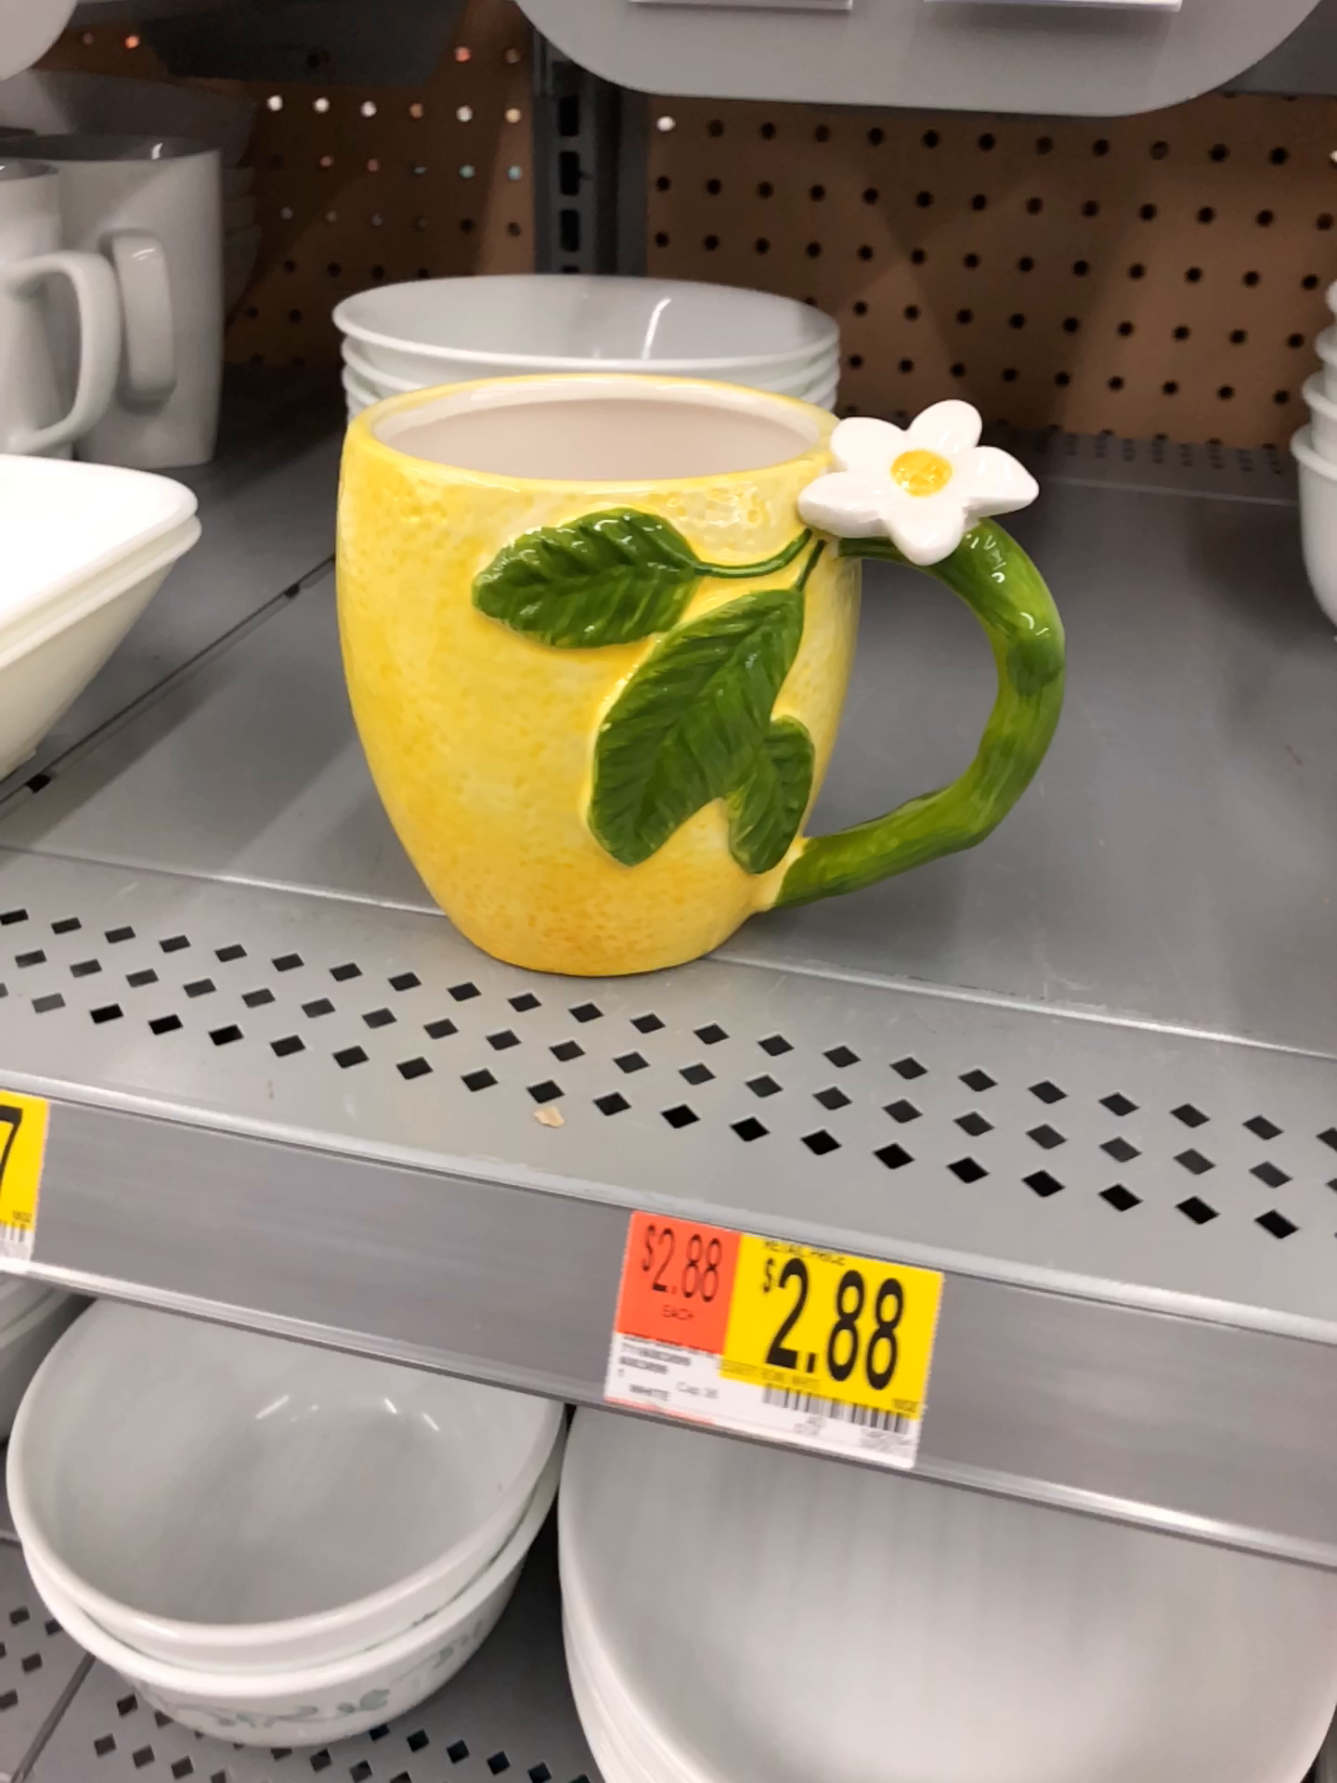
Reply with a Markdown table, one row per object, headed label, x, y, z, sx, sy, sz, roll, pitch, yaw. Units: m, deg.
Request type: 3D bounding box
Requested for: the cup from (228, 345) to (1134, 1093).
| label | x | y | z | sx | sy | sz | roll | pitch | yaw |
| --- | --- | --- | --- | --- | --- | --- | --- | --- | --- |
| cup | 0.009 | -0.042 | 0.291 | 0.139 | 0.094 | 0.101 | 10 | 32 | 14 |
